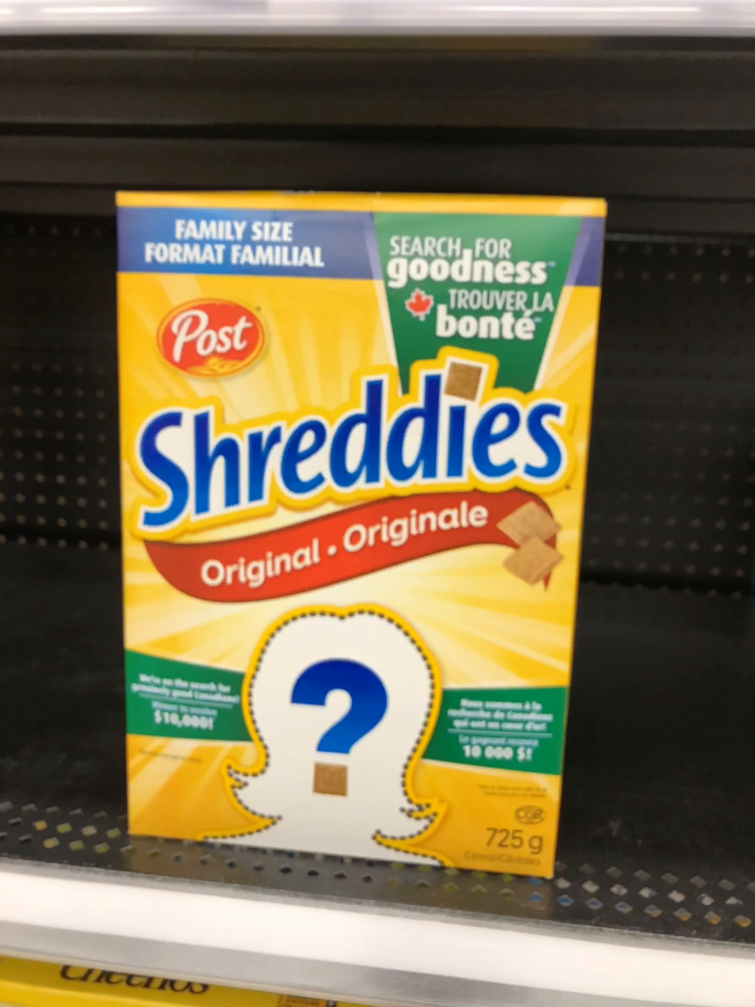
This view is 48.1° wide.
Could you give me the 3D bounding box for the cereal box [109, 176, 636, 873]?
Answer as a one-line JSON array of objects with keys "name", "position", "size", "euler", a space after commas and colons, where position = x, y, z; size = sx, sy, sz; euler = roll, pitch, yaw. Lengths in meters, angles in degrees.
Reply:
[{"name": "cereal box", "position": [-0.007, 0.008, 0.394], "size": [0.210, 0.289, 0.070], "euler": [3, 10, 6]}]
